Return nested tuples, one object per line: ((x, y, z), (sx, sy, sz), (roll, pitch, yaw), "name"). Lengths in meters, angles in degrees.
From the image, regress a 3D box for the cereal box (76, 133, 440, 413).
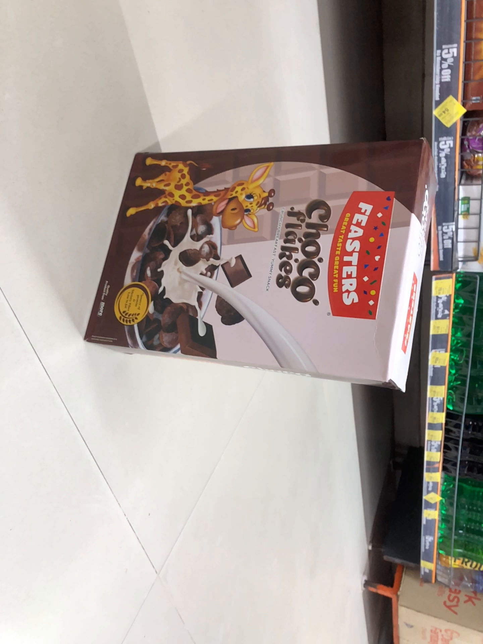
((0.011, -0.048, 0.444), (0.050, 0.268, 0.200), (38, 61, -62), "cereal box")
